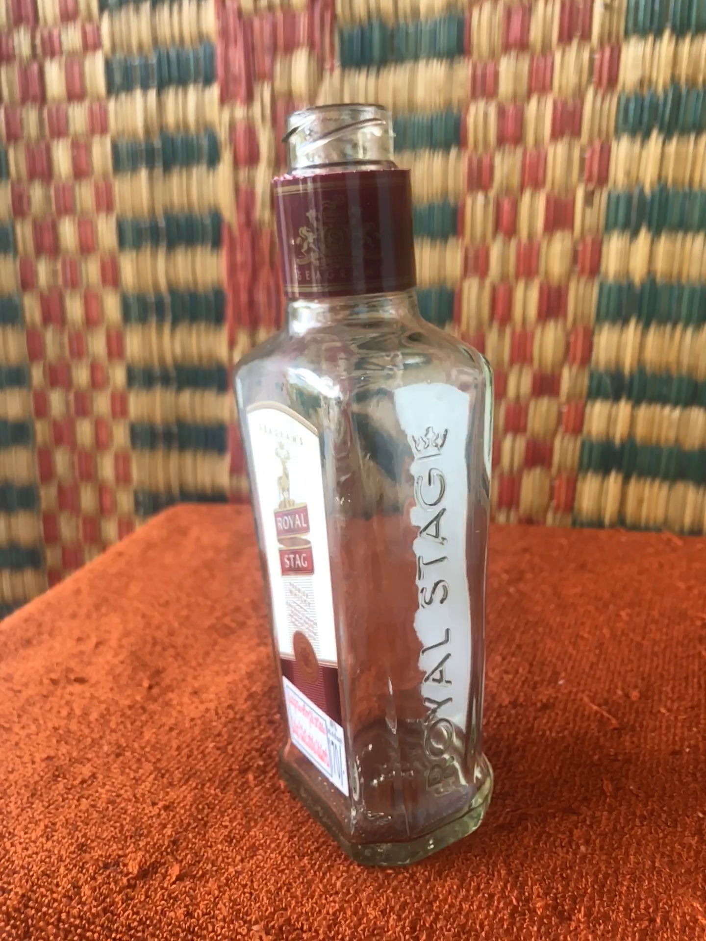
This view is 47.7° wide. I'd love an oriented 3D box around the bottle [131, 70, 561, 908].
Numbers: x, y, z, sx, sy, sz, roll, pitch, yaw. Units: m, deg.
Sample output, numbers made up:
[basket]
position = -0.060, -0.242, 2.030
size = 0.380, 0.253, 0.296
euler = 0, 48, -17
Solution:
[bottle]
position = 0.003, 0.003, 0.181
size = 0.060, 0.159, 0.060
euler = -5, 20, 2
